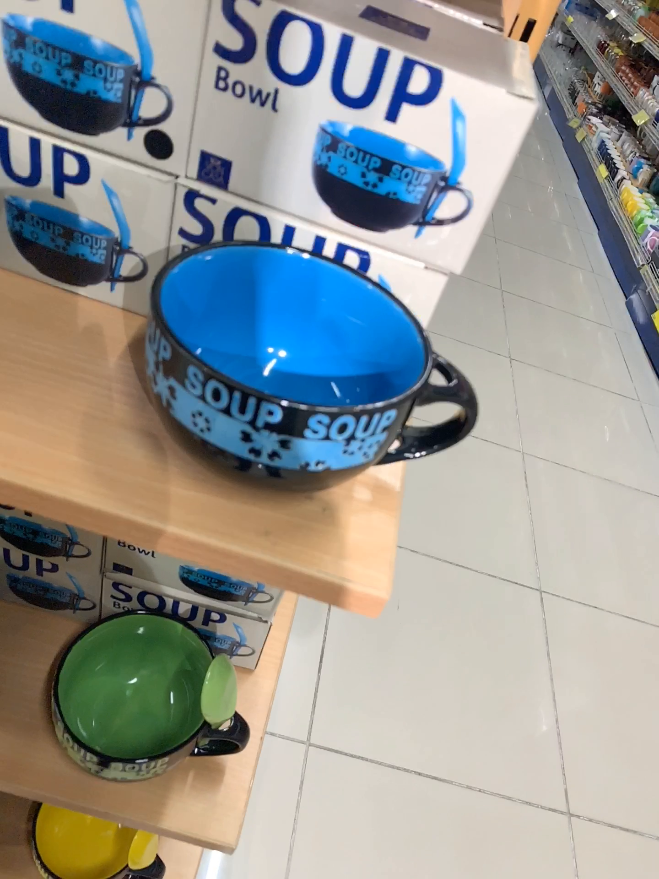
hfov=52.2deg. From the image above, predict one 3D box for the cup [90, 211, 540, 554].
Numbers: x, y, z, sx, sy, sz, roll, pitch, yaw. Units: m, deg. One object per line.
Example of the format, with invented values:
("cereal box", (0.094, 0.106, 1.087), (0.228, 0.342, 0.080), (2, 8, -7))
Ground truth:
("cup", (-0.007, -0.024, 0.277), (0.150, 0.060, 0.100), (13, 41, -11))
